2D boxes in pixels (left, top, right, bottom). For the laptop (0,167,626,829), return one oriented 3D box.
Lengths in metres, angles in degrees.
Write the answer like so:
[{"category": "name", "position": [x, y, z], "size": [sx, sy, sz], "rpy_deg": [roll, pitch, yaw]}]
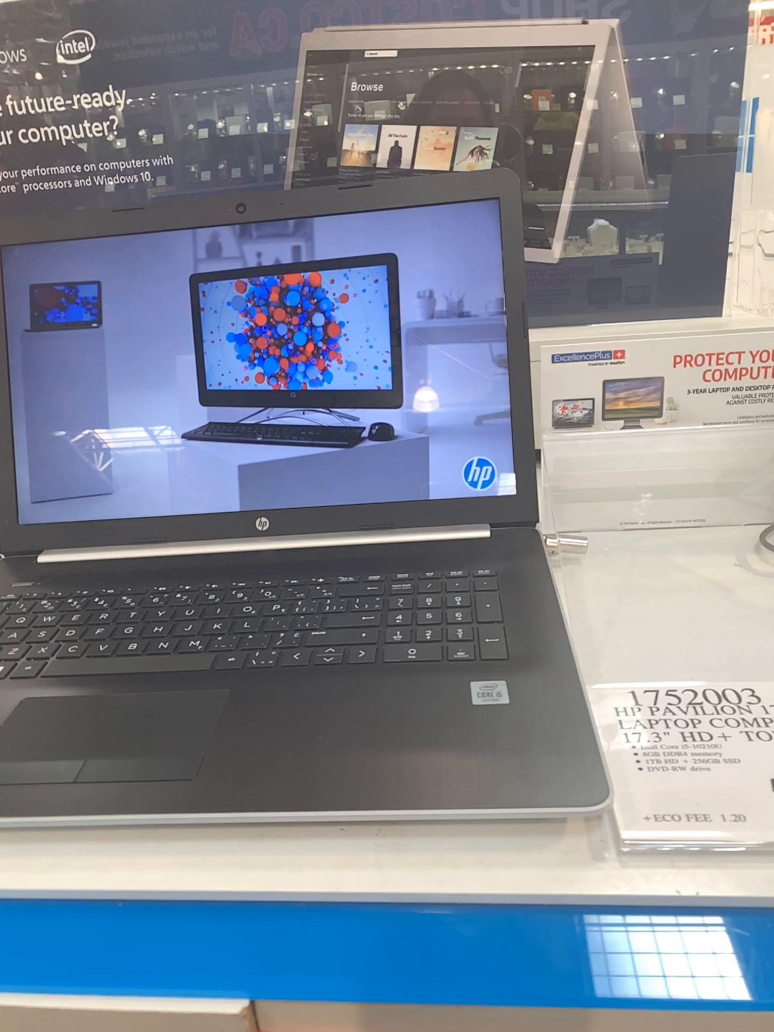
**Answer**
[{"category": "laptop", "position": [-0.107, -0.054, 0.460], "size": [0.394, 0.234, 0.371], "rpy_deg": [-3, 23, 5]}]
